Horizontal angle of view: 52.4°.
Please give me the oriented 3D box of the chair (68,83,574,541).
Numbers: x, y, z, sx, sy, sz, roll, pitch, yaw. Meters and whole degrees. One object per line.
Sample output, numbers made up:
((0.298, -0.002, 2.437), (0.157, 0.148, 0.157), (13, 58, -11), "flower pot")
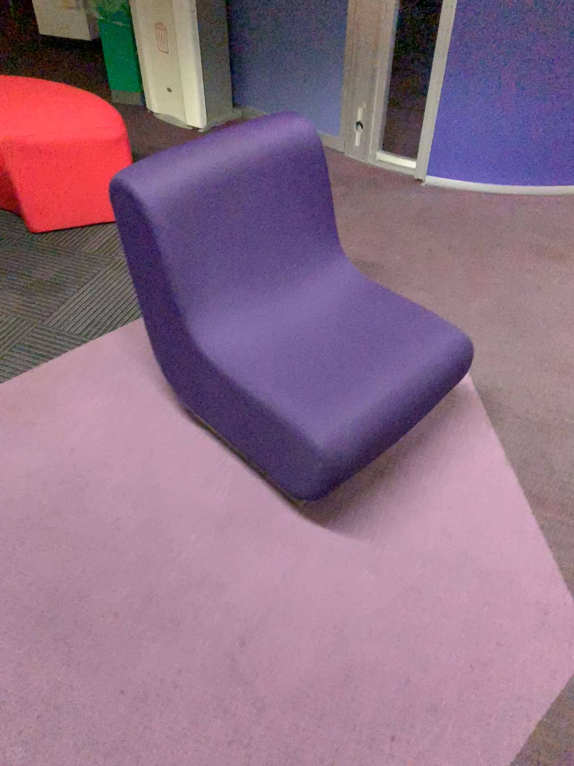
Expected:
((0.079, -0.265, 1.525), (0.823, 0.614, 0.804), (34, 53, 30), "chair")
